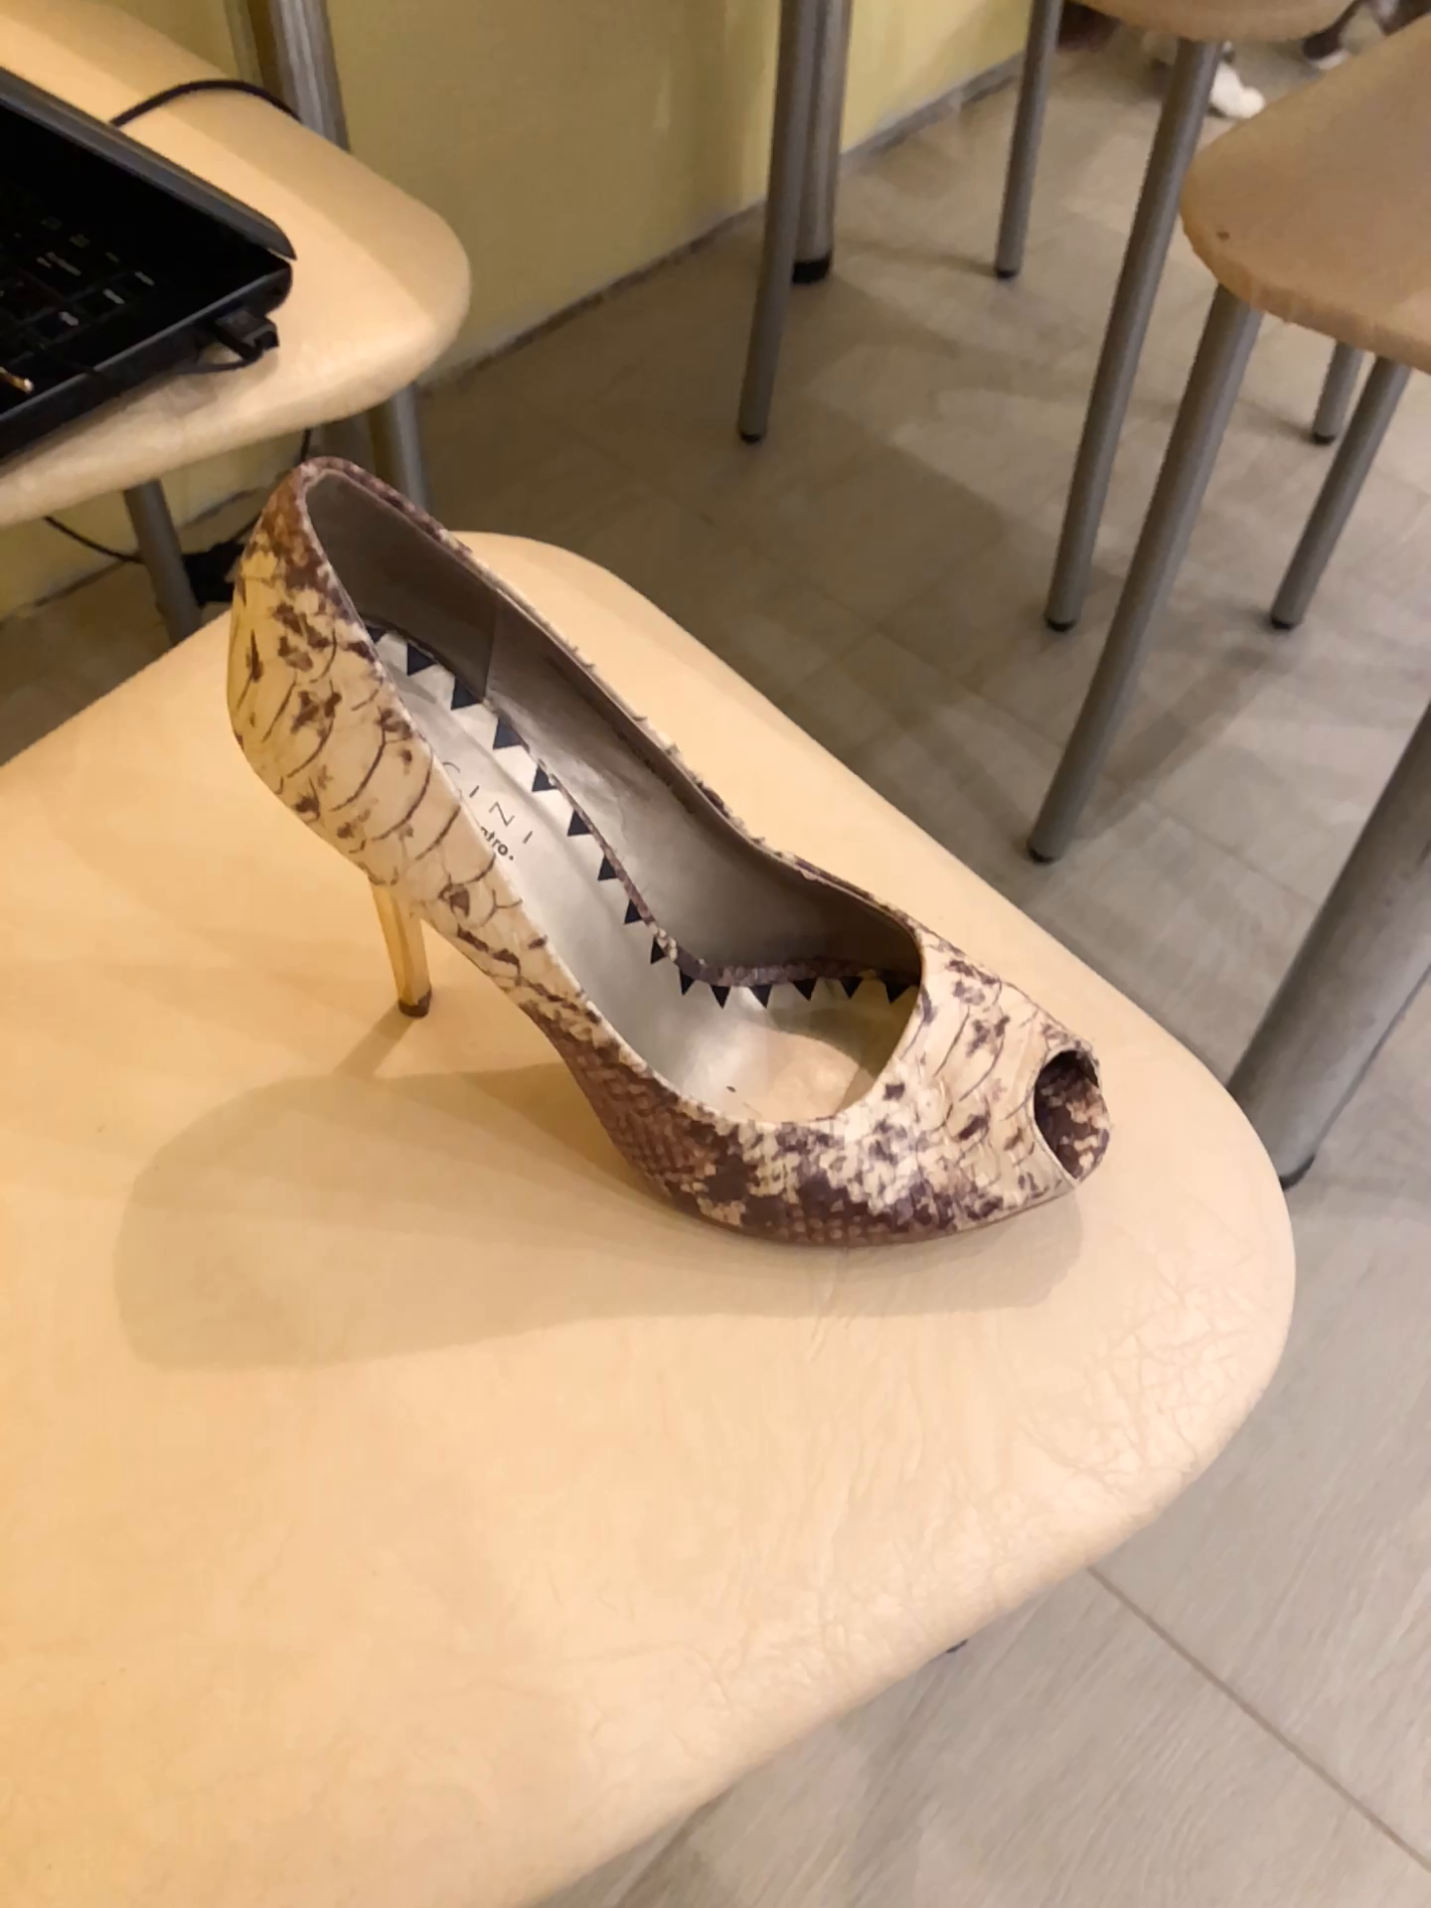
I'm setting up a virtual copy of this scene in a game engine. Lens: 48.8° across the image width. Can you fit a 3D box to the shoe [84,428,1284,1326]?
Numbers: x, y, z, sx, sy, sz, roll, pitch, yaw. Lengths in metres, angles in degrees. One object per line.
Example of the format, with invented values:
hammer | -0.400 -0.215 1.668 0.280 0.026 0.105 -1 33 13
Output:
shoe | -0.004 -0.013 0.334 0.200 0.129 0.080 15 54 9
